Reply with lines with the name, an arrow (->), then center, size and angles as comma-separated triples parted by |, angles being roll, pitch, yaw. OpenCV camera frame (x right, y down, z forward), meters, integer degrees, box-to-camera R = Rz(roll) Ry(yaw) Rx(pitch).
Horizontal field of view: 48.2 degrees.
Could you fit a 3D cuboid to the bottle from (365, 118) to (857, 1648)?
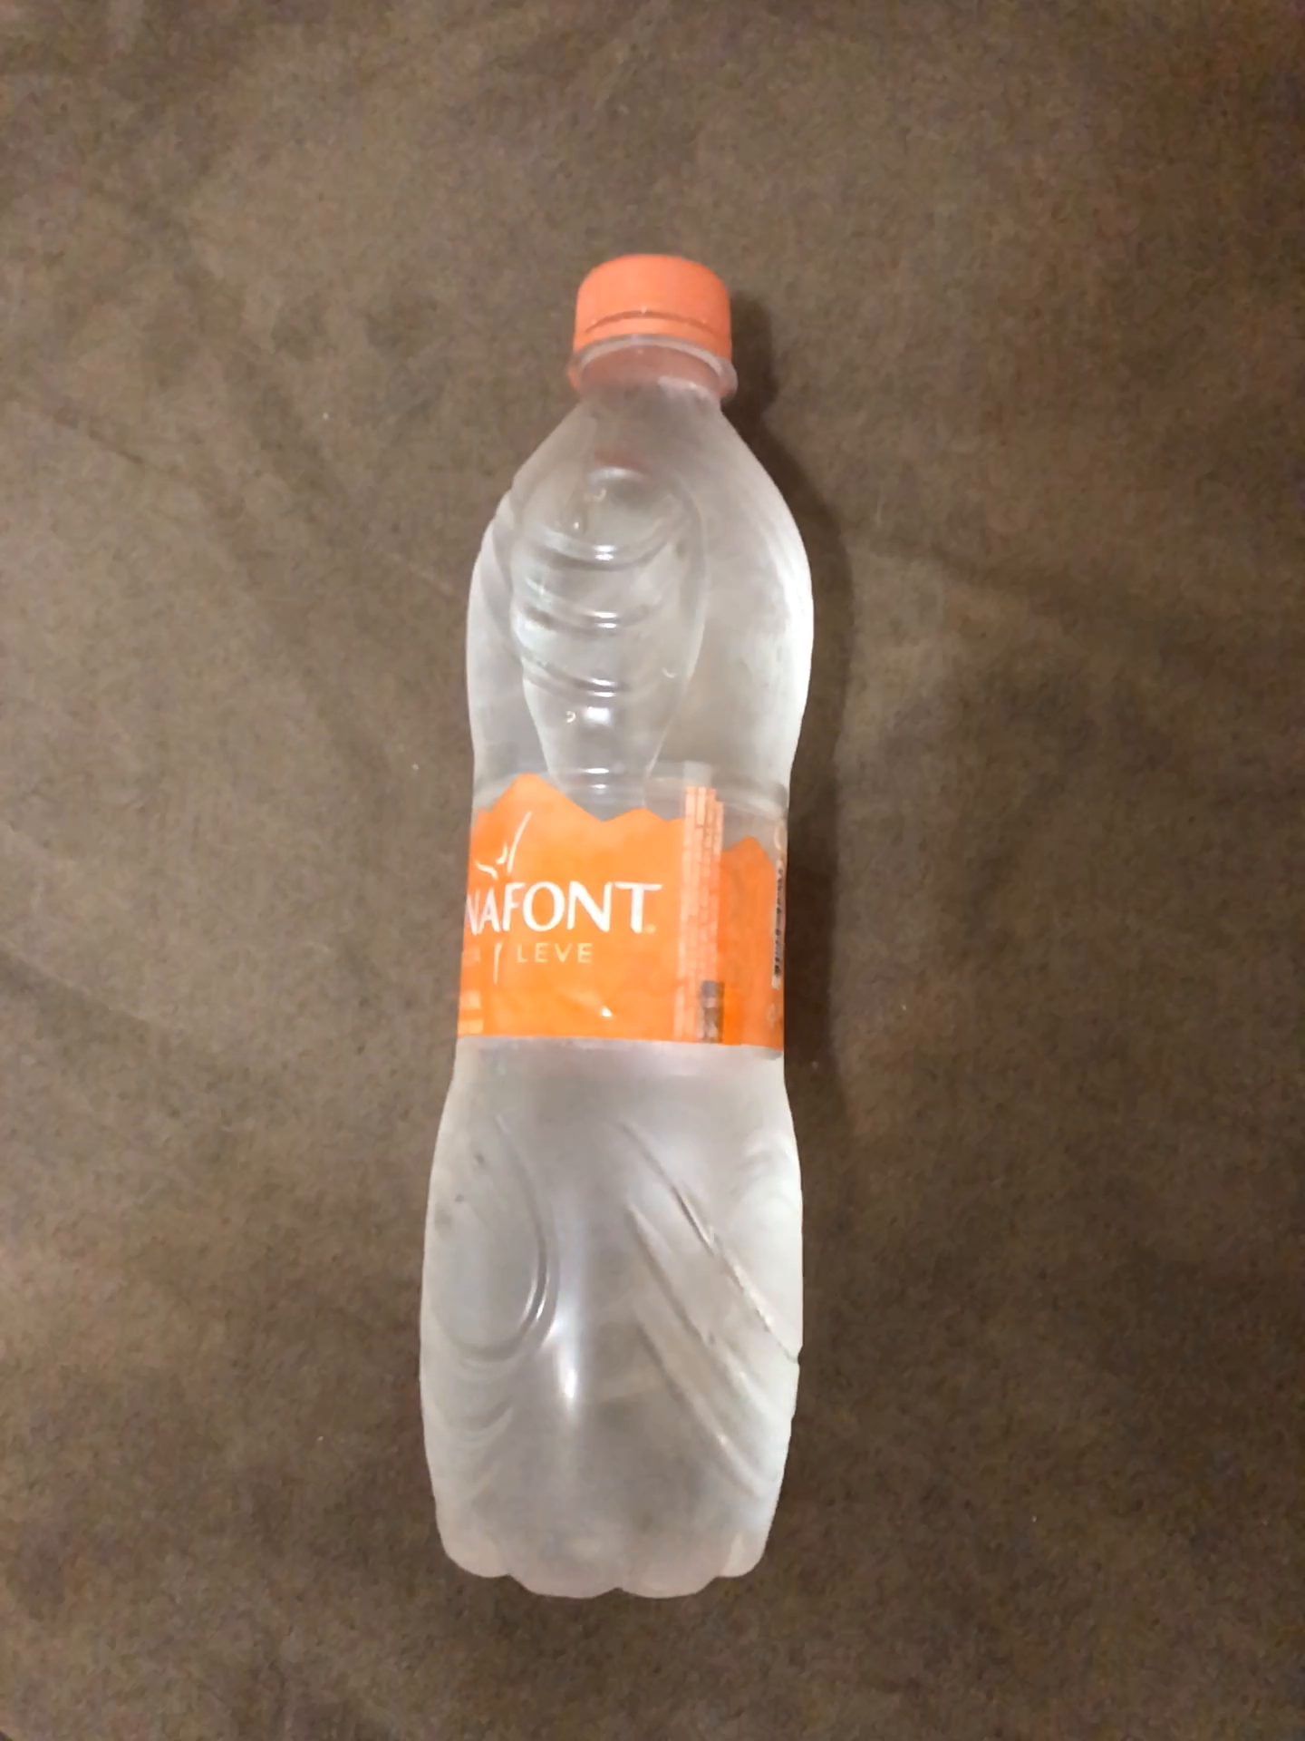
bottle -> -0.001, -0.004, 0.257 | 0.070, 0.050, 0.240 | 0, 82, 10
